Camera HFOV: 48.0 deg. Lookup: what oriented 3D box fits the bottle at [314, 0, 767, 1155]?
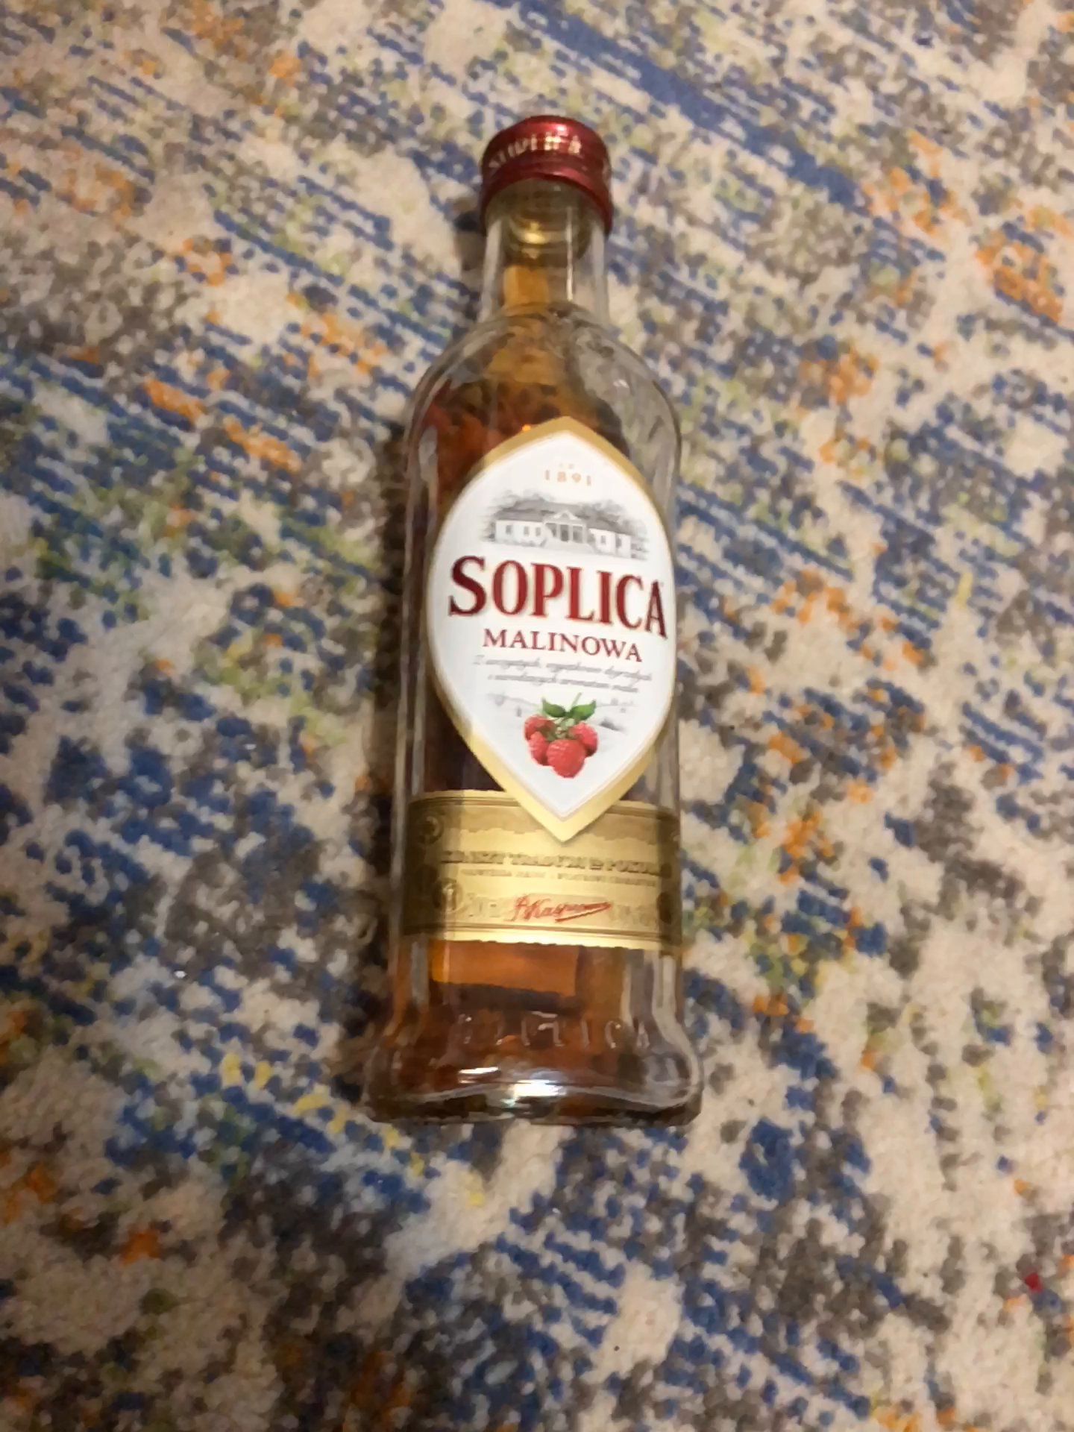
[{"bbox_3d":[0.000,-0.034,0.216,0.060,0.040,0.210,5,69,-12],"label":"bottle"}]
